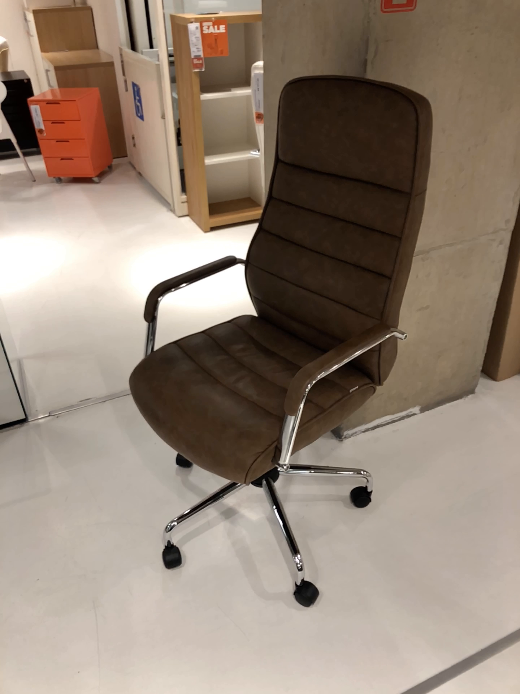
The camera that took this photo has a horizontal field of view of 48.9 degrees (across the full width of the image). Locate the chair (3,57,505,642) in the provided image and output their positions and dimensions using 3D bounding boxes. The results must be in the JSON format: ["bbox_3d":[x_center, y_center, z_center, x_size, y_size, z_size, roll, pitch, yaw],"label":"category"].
[{"bbox_3d":[-0.018,-0.054,1.276,0.632,0.962,0.643,-25,39,-32],"label":"chair"}]
